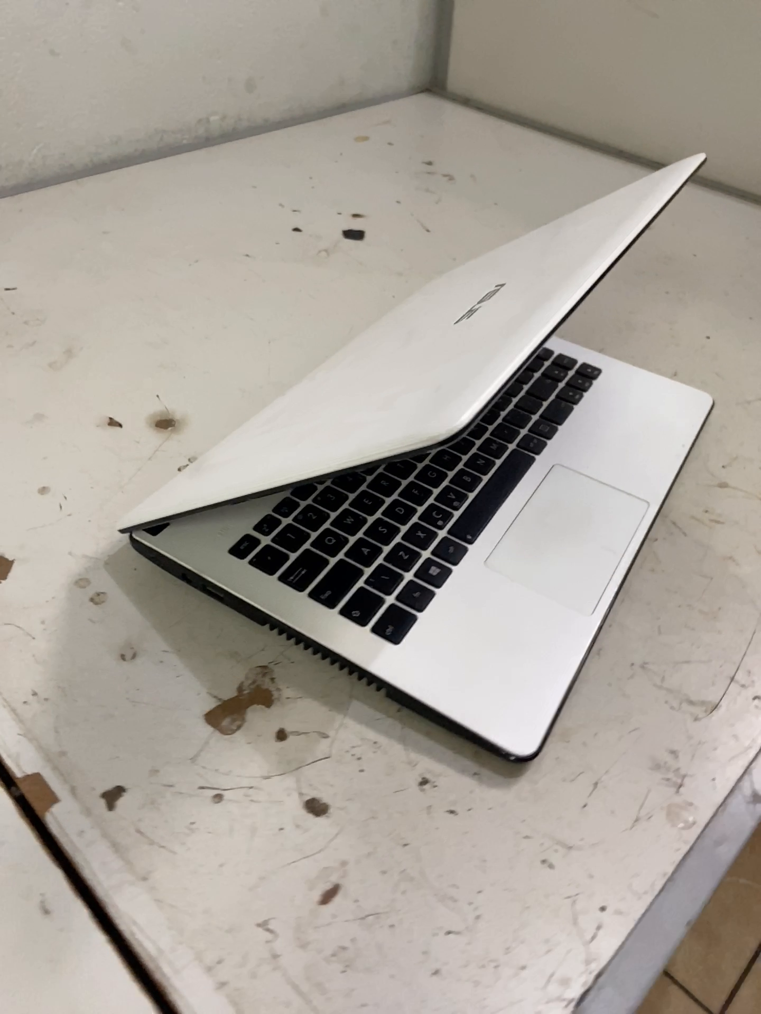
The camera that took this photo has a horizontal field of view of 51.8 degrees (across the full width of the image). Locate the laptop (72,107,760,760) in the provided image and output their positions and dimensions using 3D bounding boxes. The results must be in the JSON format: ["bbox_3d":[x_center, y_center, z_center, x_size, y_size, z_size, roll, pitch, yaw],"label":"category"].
[{"bbox_3d":[0.056,-0.087,0.448,0.236,0.141,0.345,25,46,20],"label":"laptop"}]
